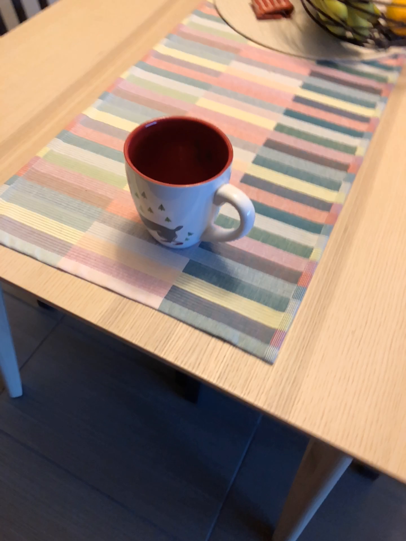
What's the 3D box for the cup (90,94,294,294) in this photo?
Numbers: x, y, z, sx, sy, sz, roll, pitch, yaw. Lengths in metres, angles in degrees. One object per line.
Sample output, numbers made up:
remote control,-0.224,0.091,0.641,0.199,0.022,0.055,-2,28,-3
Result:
cup,-0.011,-0.074,0.415,0.140,0.090,0.100,35,59,20
